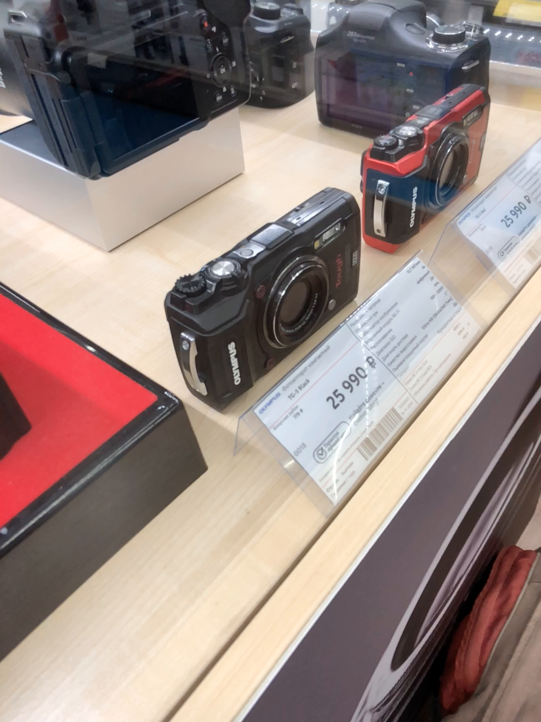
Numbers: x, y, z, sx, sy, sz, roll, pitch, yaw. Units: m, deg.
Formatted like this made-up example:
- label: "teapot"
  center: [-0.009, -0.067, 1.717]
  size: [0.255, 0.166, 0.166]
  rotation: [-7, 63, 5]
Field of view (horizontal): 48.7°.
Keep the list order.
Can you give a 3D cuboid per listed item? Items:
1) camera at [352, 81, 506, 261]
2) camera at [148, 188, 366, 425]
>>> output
- label: "camera"
  center: [0.096, -0.118, 0.364]
  size: [0.030, 0.060, 0.117]
  rotation: [29, 53, 31]
- label: "camera"
  center: [0.000, -0.030, 0.295]
  size: [0.030, 0.060, 0.117]
  rotation: [29, 53, 31]
